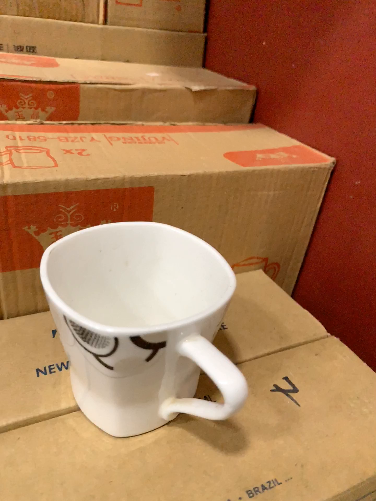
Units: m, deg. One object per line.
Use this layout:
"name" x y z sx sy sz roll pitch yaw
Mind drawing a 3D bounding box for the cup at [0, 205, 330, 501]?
"cup" -0.015 0.035 0.137 0.060 0.060 0.090 -20 39 -38
